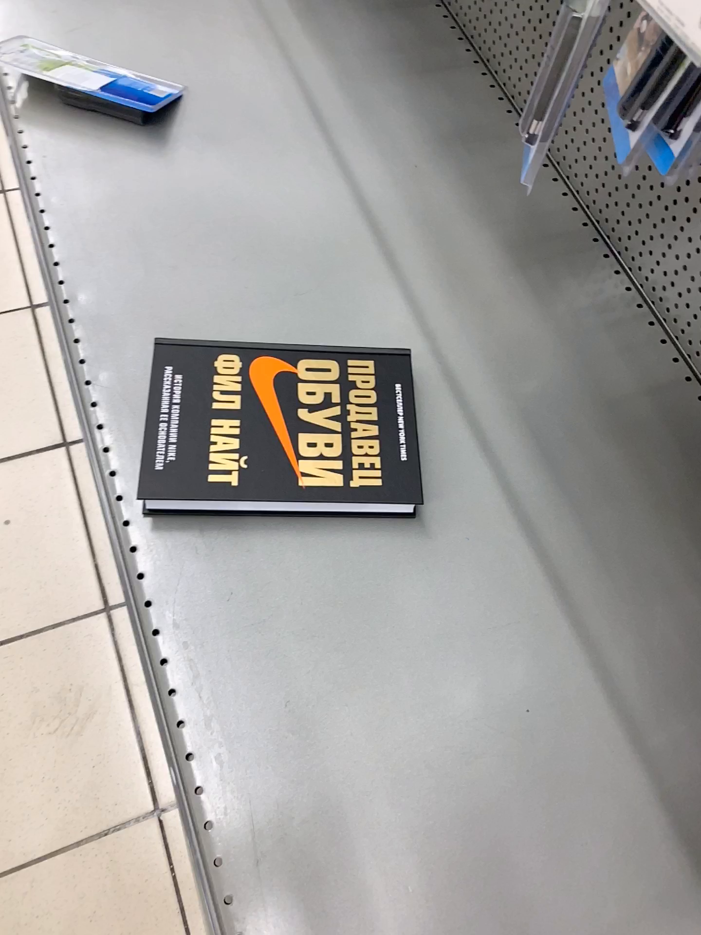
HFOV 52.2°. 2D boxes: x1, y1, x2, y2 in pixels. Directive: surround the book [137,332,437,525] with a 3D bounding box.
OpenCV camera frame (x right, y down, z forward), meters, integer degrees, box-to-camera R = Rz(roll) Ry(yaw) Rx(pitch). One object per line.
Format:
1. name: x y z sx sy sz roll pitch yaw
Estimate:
1. book: -0.055 -0.036 0.657 0.249 0.049 0.166 2 63 -6
